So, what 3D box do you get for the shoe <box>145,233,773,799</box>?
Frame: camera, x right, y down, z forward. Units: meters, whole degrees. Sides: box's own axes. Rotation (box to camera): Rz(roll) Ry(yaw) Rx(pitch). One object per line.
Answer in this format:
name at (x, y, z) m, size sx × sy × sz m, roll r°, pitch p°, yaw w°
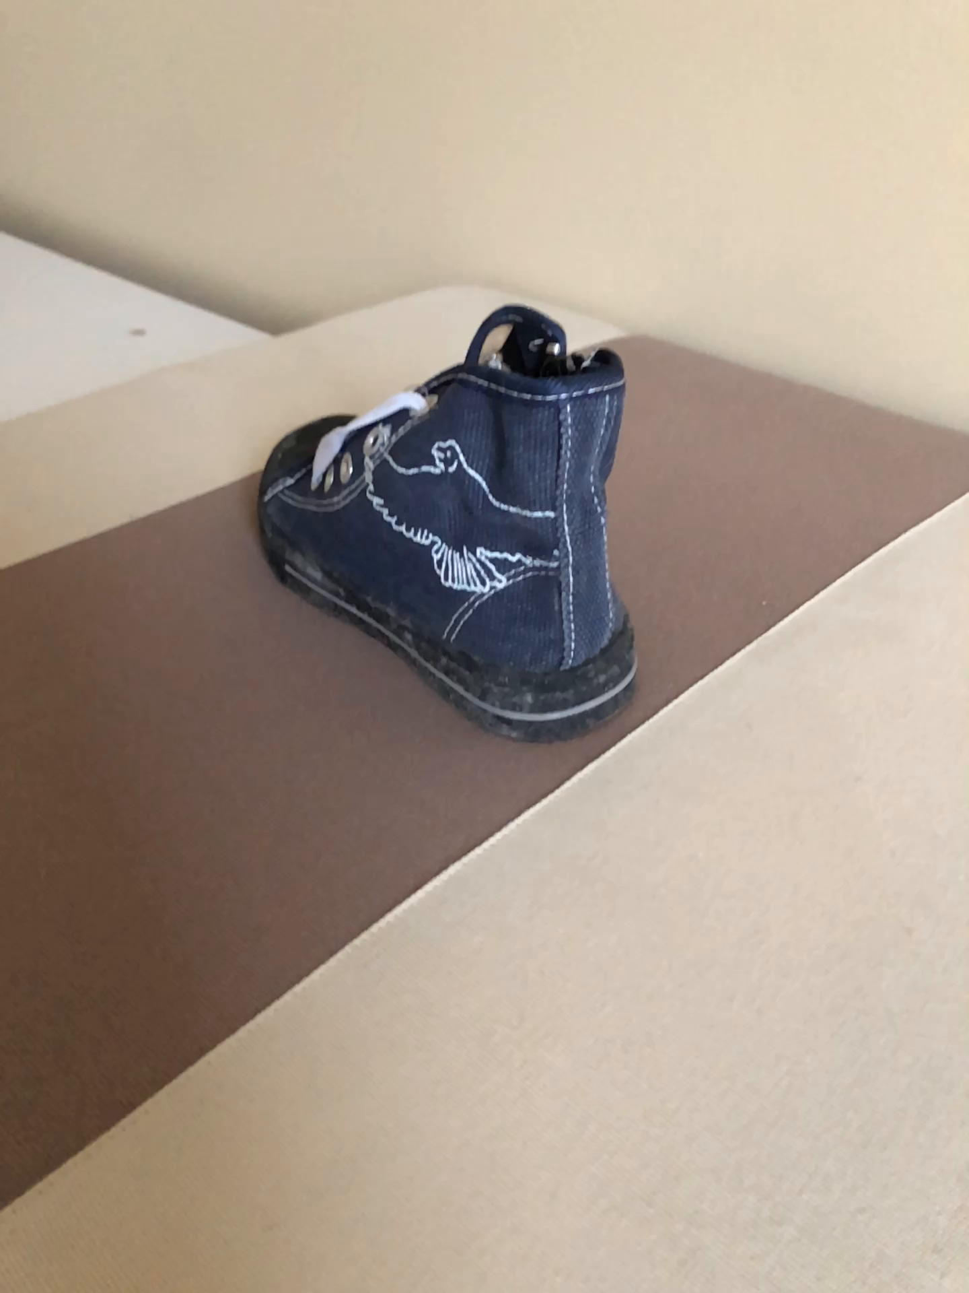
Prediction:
shoe at (-0.020, -0.059, 0.357) m, size 0.090 × 0.099 × 0.200 m, roll -24°, pitch 41°, yaw -31°
